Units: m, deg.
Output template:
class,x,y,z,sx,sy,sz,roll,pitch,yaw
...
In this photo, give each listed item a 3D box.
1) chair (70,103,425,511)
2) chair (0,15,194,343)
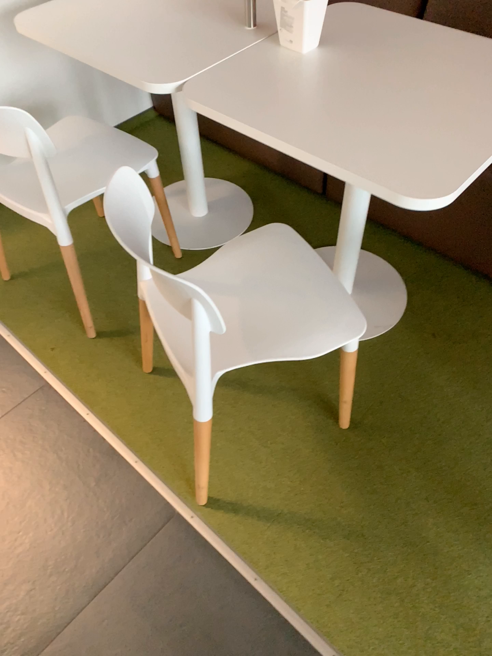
class,x,y,z,sx,sy,sz,roll,pitch,yaw
chair,-0.017,-0.015,1.231,0.500,0.747,0.512,-20,54,-13
chair,-0.589,-0.464,1.628,0.561,0.727,0.512,29,58,23
